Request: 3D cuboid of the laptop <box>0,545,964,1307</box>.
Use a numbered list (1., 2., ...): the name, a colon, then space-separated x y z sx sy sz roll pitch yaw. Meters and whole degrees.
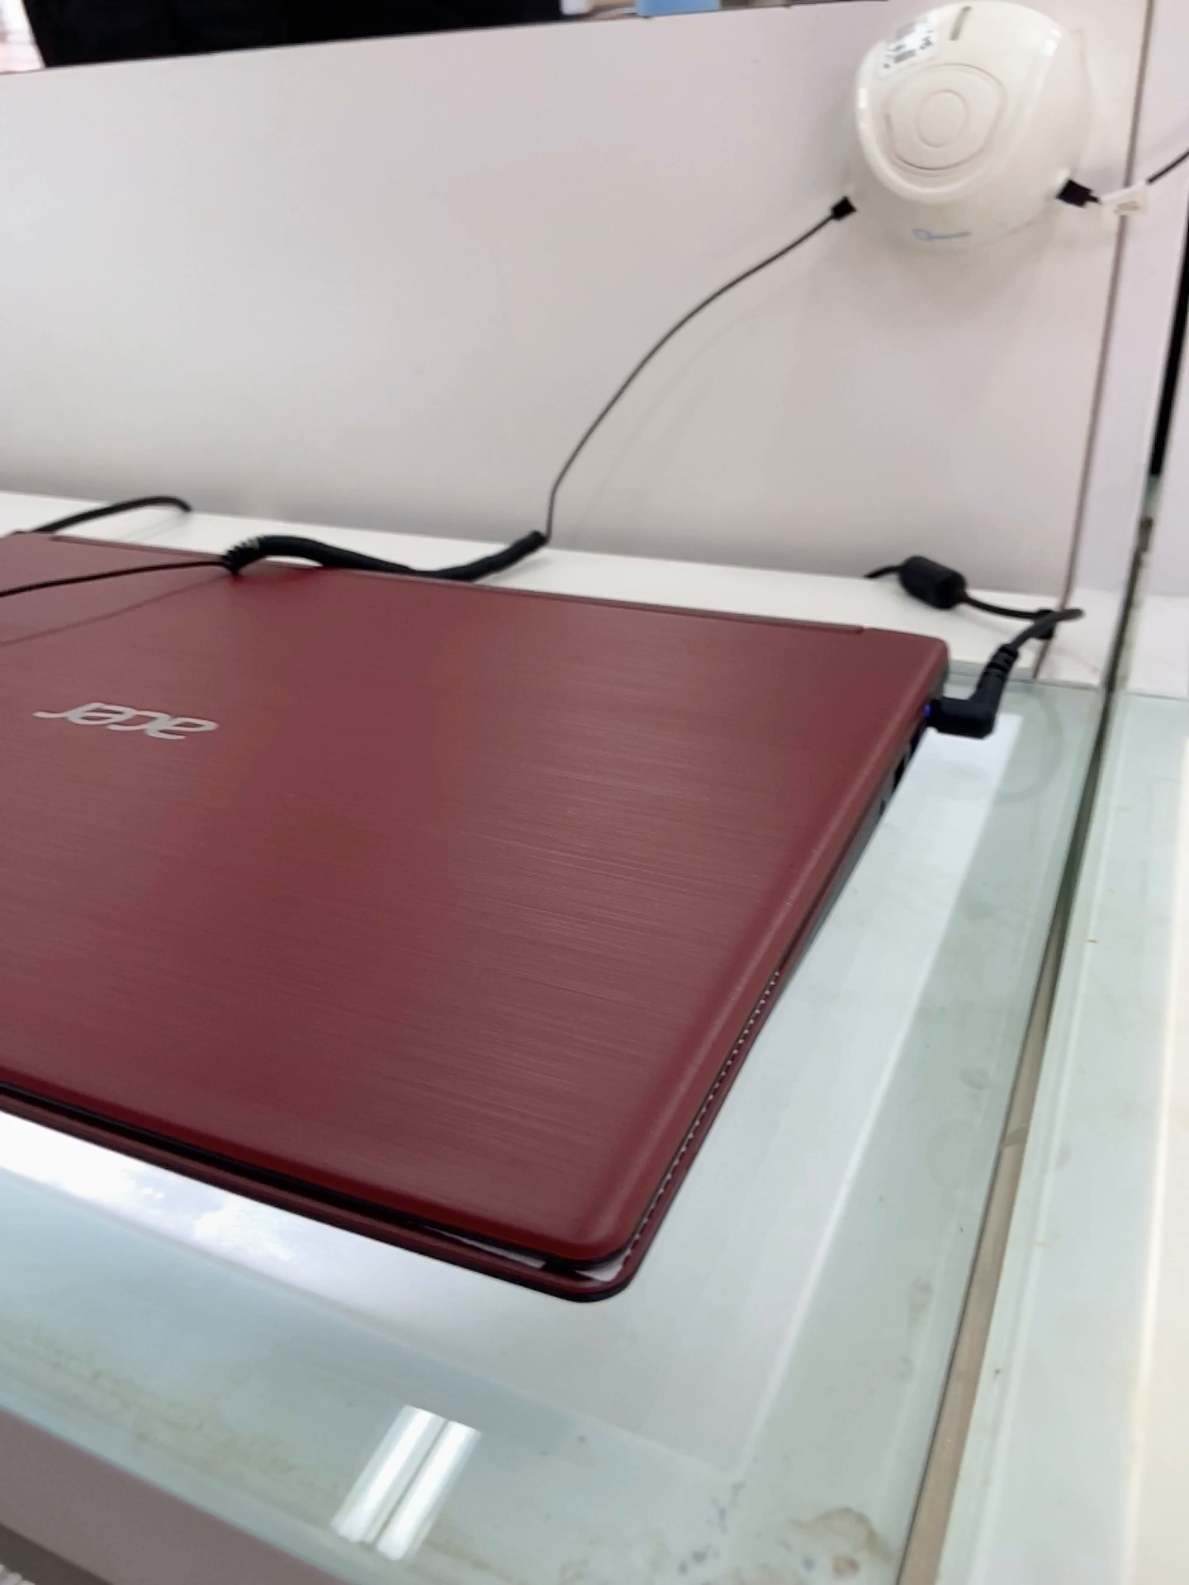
1. laptop: -0.109 -0.017 0.342 0.368 0.006 0.263 10 28 22
